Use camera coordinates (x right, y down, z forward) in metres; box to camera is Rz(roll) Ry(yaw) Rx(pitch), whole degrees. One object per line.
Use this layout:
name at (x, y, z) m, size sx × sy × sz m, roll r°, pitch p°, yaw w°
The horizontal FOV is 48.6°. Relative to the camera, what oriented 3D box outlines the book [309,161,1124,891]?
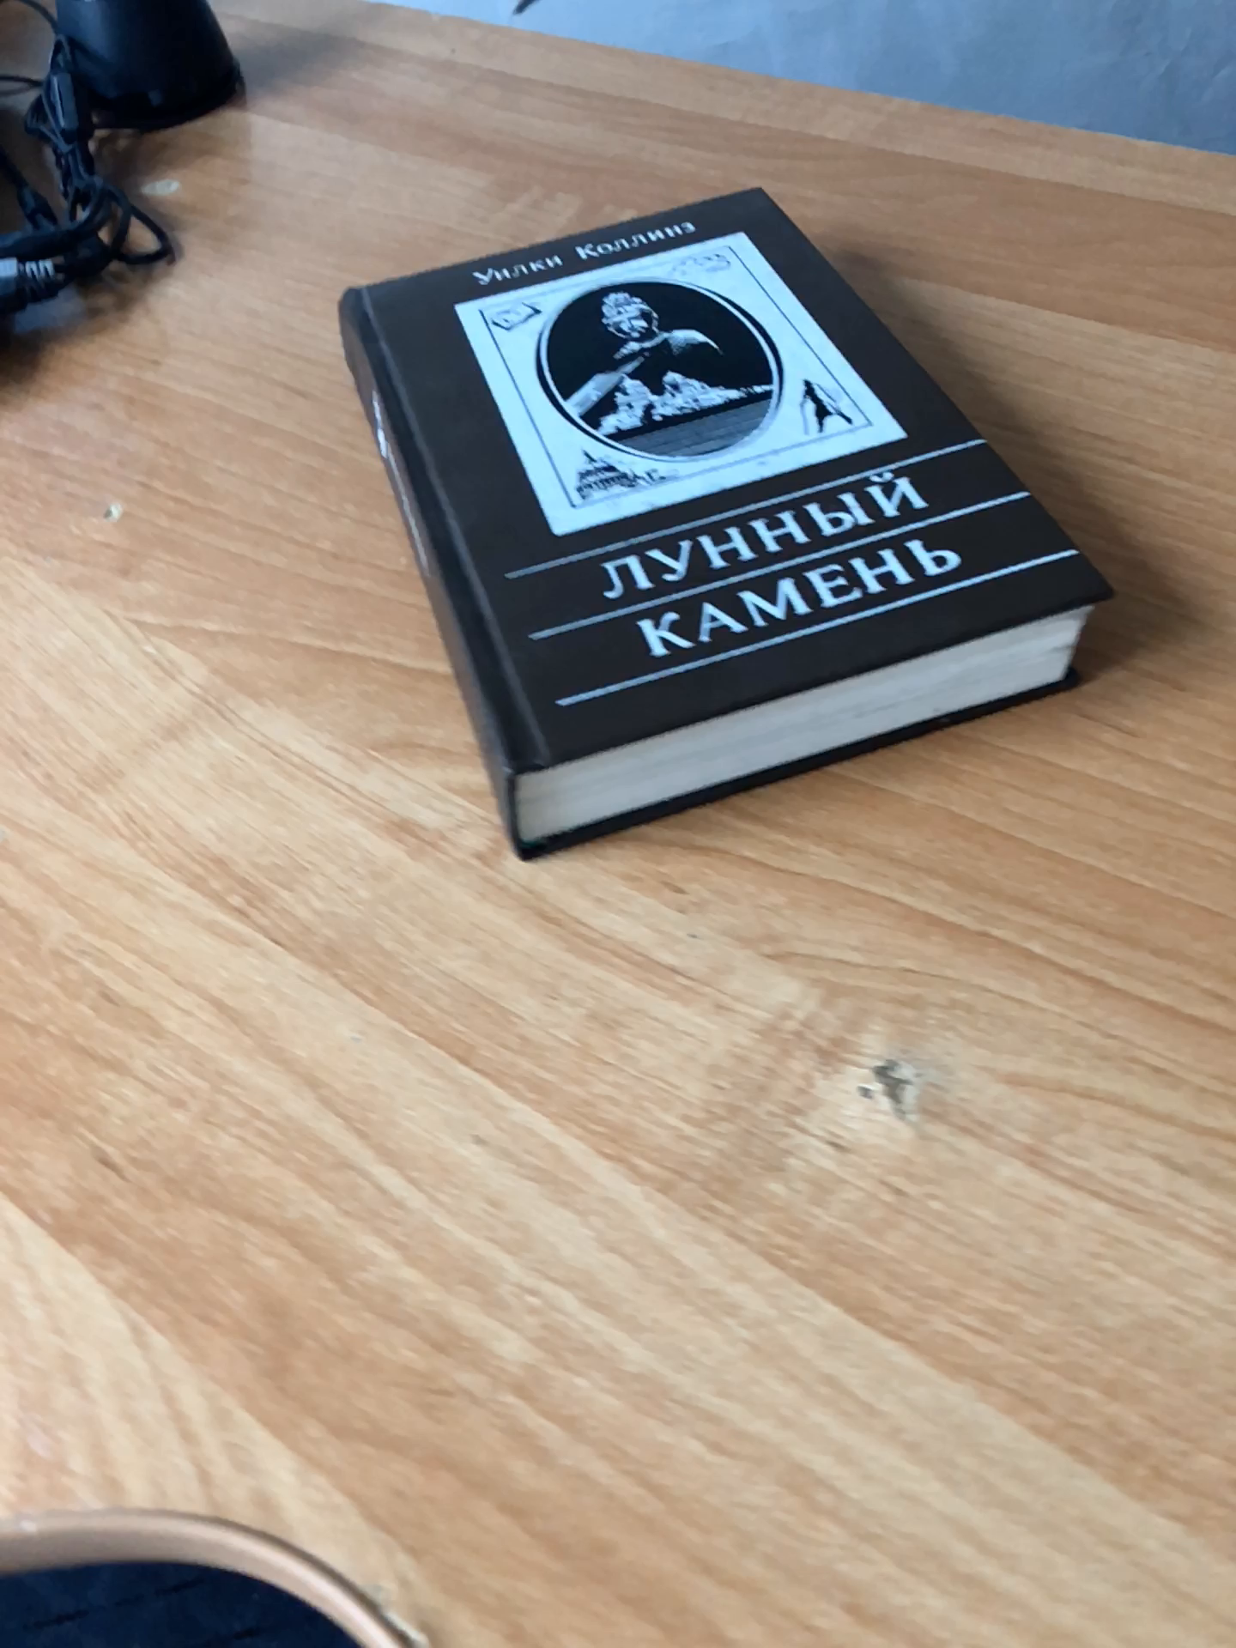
book at (0.009, -0.089, 0.338) m, size 0.133 × 0.032 × 0.199 m, roll -18°, pitch 51°, yaw -6°
